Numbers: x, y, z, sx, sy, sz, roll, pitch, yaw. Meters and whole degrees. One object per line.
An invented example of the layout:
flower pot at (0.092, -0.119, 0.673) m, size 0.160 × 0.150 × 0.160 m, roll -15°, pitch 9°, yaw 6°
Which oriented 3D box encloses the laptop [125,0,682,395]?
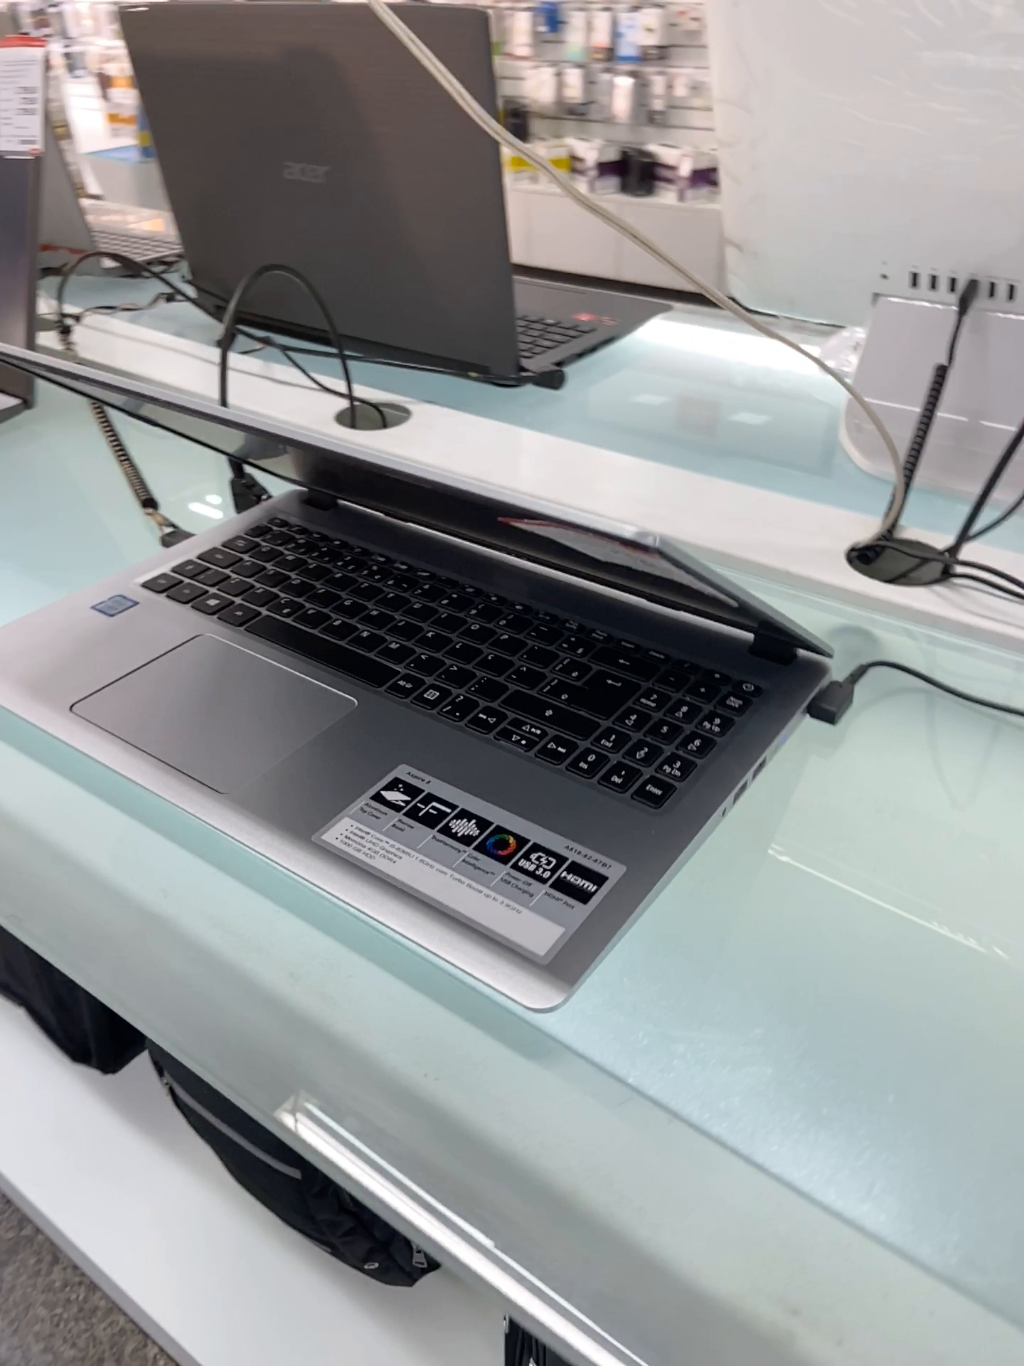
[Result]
laptop at (-0.086, -0.458, 0.931) m, size 0.363 × 0.249 × 0.266 m, roll 22°, pitch 42°, yaw 29°

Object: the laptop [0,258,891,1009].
laptop at (-0.067, -0.066, 0.459) m, size 0.360 × 0.138 × 0.237 m, roll 21°, pitch 40°, yaw 29°
